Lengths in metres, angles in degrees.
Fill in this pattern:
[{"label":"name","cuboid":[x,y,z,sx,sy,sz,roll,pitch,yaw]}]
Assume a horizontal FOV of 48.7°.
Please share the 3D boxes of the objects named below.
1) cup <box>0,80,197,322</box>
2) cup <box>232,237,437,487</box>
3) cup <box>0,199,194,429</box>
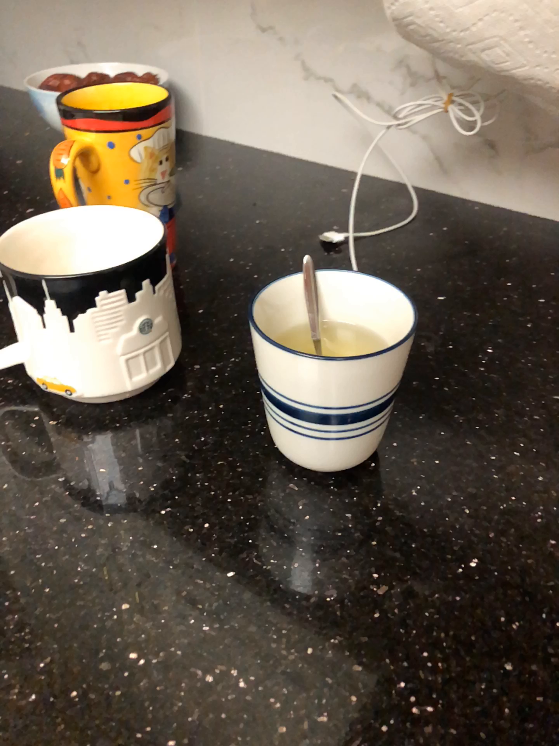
[{"label":"cup","cuboid":[-0.140,-0.145,0.512,0.090,0.149,0.131,8,38,11]},{"label":"cup","cuboid":[0.032,-0.008,0.369,0.100,0.109,0.091,5,37,6]},{"label":"cup","cuboid":[-0.140,-0.043,0.421,0.150,0.109,0.101,-5,37,-6]}]
